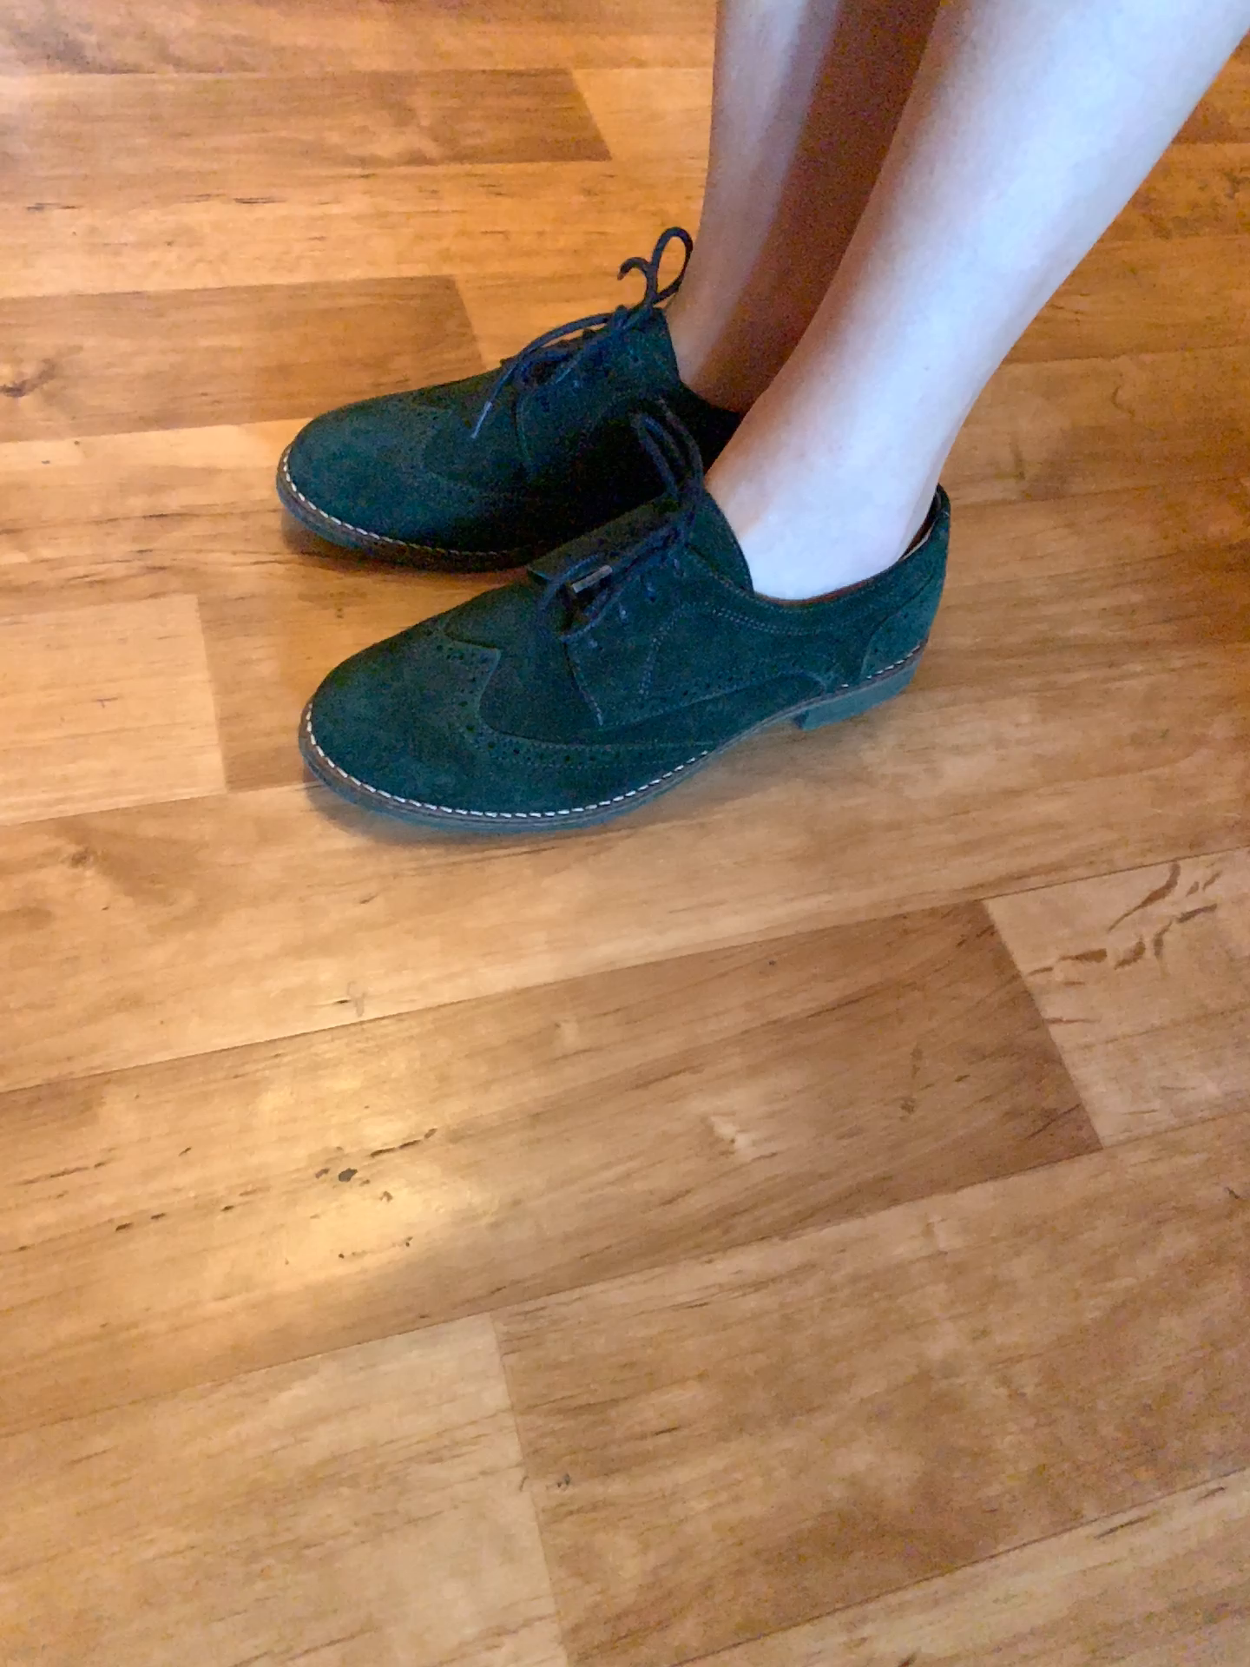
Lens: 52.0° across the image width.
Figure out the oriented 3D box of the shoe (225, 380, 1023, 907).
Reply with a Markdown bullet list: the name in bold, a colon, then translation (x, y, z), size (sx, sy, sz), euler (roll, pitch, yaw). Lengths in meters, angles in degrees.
- **shoe**: translation (0.001, -0.075, 0.458), size (0.250, 0.080, 0.100), euler (-19, 63, -21)

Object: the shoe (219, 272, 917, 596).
- **shoe**: translation (-0.025, -0.168, 0.532), size (0.260, 0.080, 0.090), euler (-7, 60, -15)
